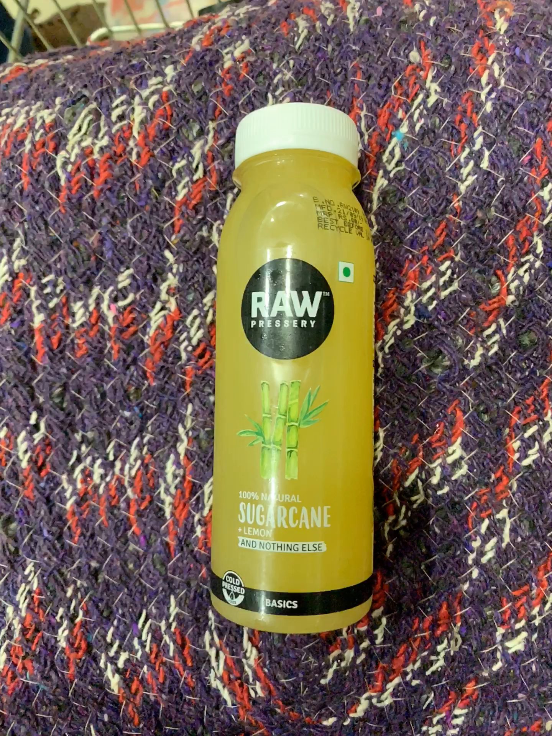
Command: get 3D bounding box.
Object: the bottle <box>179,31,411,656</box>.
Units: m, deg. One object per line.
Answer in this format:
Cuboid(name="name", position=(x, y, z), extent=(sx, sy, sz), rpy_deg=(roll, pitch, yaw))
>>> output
Cuboid(name="bottle", position=(0.008, -0.007, 0.177), extent=(0.060, 0.050, 0.160), rpy_deg=(0, 88, 9))
